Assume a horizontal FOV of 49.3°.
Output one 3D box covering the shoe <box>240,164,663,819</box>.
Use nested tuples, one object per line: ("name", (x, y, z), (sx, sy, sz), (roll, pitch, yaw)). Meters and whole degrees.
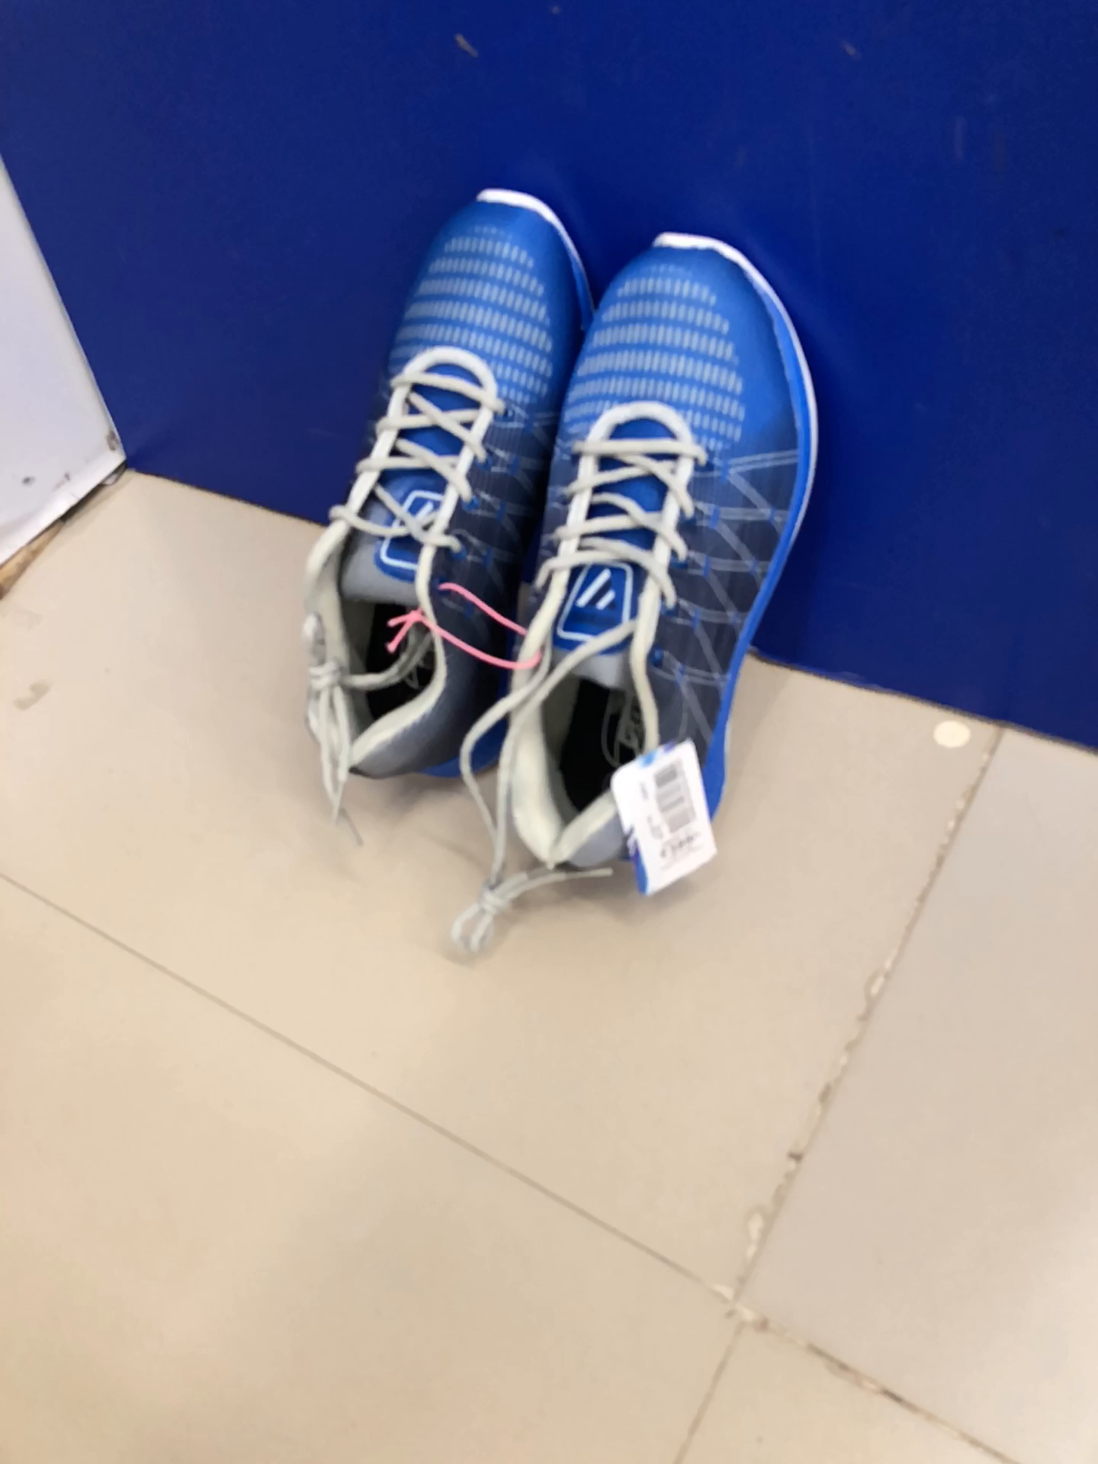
("shoe", (-0.045, -0.109, 0.575), (0.110, 0.270, 0.100), (17, 8, 20))

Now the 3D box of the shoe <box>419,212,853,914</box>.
("shoe", (0.044, -0.069, 0.532), (0.100, 0.120, 0.270), (14, 92, 24))
